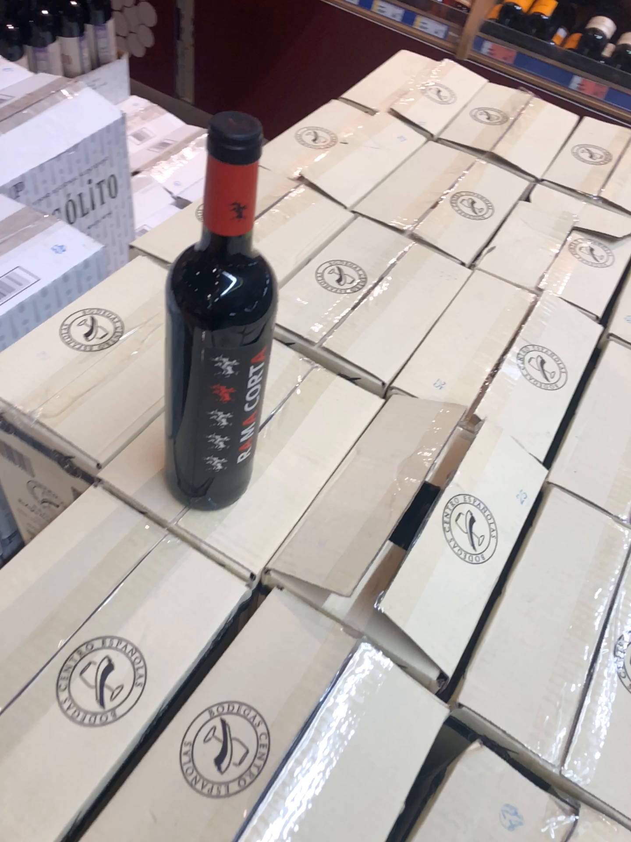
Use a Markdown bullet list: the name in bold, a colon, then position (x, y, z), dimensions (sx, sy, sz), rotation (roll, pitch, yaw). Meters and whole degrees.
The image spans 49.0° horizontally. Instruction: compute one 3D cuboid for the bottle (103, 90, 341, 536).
- **bottle**: position (-0.070, -0.049, 0.470), dimensions (0.090, 0.298, 0.090), rotation (5, 51, -6)
